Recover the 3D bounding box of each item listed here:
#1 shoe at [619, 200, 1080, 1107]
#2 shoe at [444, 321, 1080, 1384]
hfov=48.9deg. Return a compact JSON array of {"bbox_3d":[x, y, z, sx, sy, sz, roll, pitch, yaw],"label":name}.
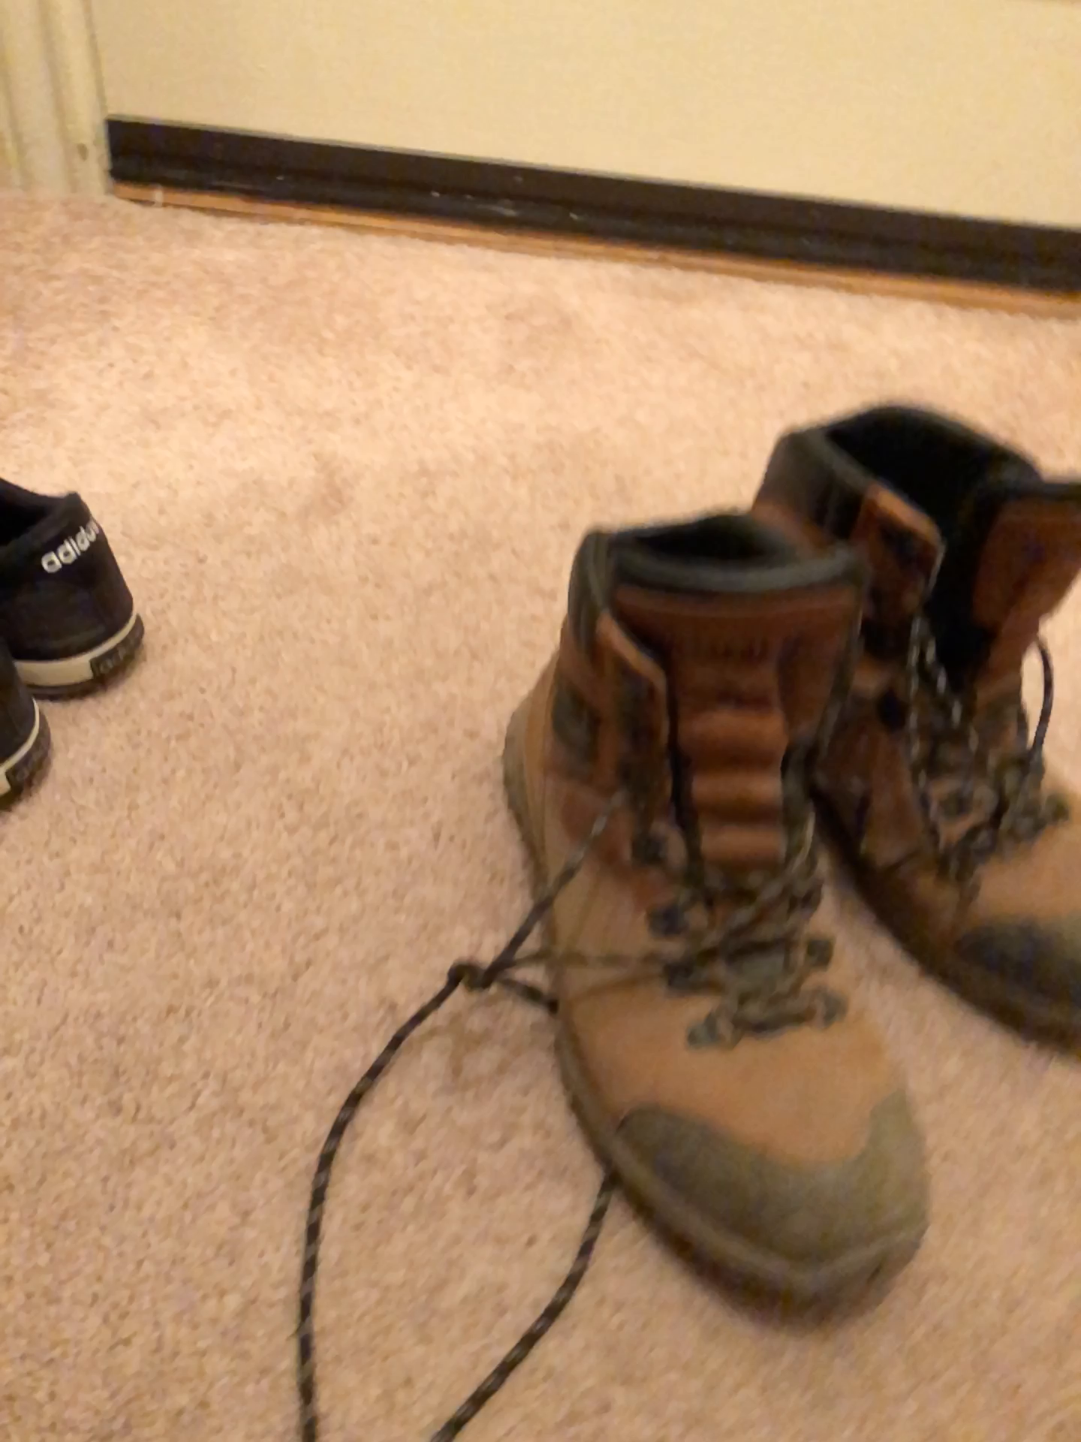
[{"bbox_3d":[0.184,-0.041,0.519,0.120,0.229,0.311,-19,52,-24],"label":"shoe"},{"bbox_3d":[0.069,0.033,0.447,0.120,0.219,0.311,-11,49,-17],"label":"shoe"}]
